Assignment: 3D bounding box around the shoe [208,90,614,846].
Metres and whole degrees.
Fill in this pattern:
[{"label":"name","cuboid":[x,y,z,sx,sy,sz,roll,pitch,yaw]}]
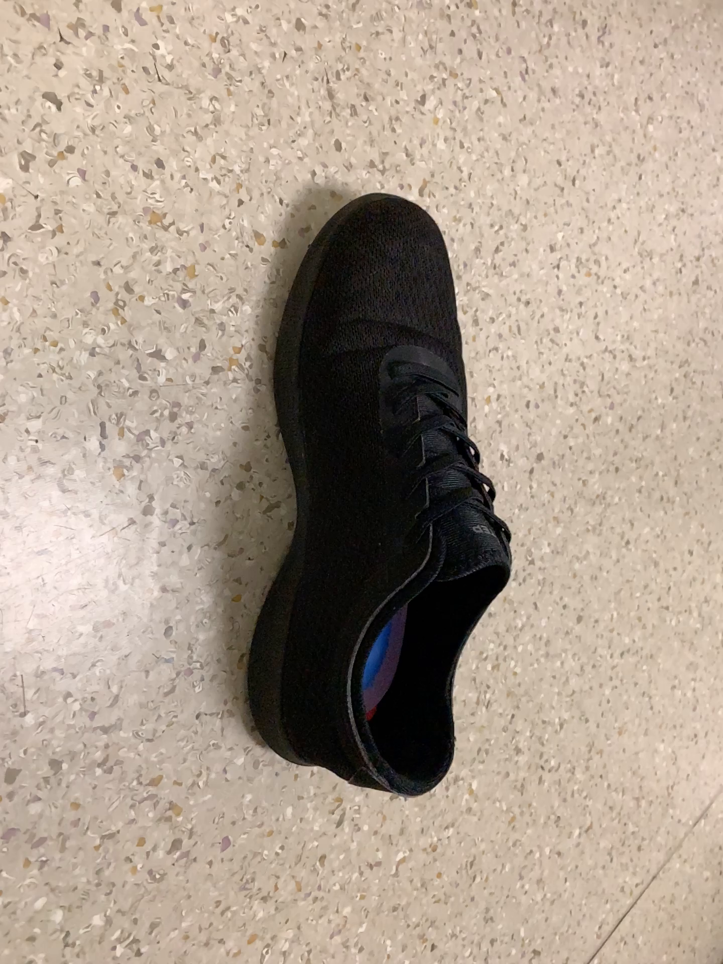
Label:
[{"label":"shoe","cuboid":[0.024,-0.005,0.343,0.105,0.099,0.279,12,86,-42]}]
